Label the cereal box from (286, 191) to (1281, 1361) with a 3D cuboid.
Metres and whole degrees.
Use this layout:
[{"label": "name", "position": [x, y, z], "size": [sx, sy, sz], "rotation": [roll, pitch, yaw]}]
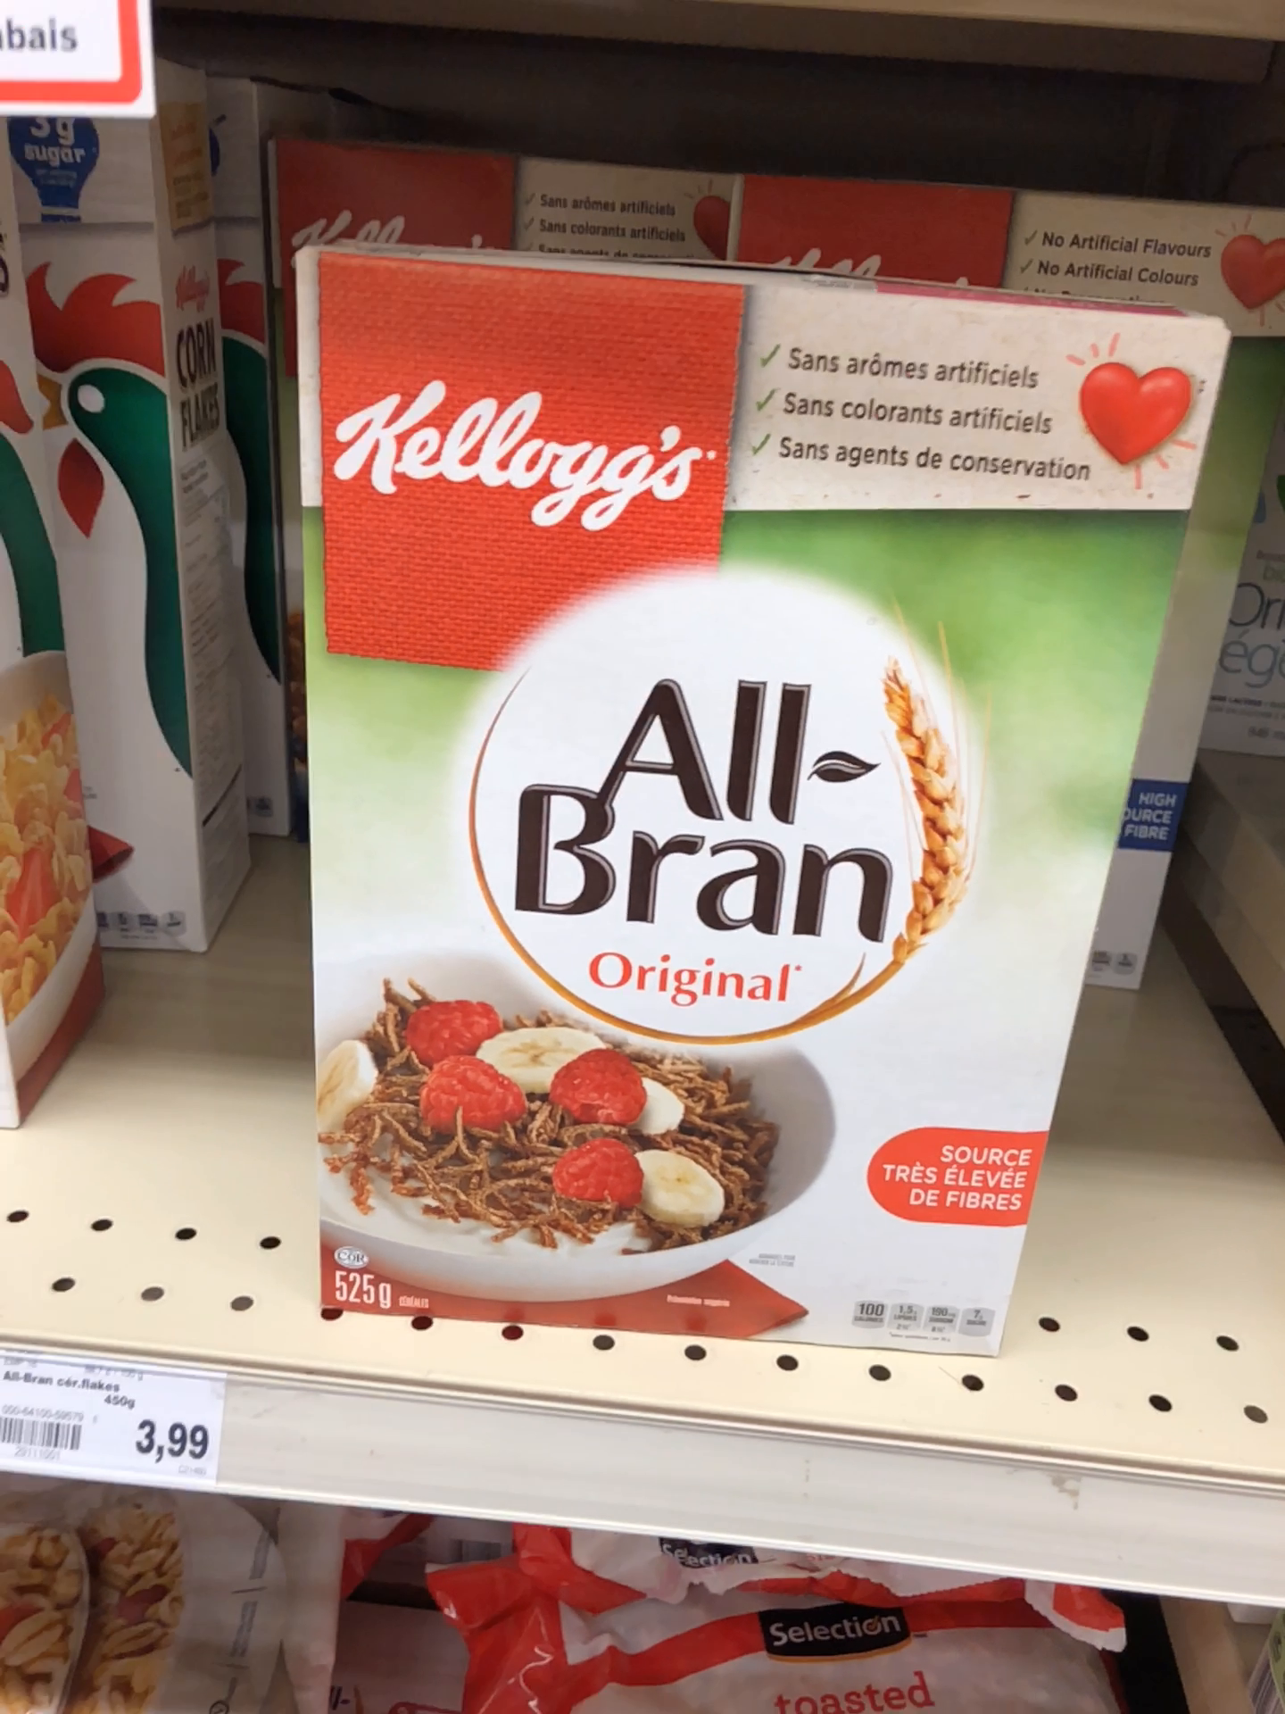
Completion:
[{"label": "cereal box", "position": [0.019, -0.009, 0.362], "size": [0.190, 0.278, 0.071], "rotation": [4, 25, -1]}]
